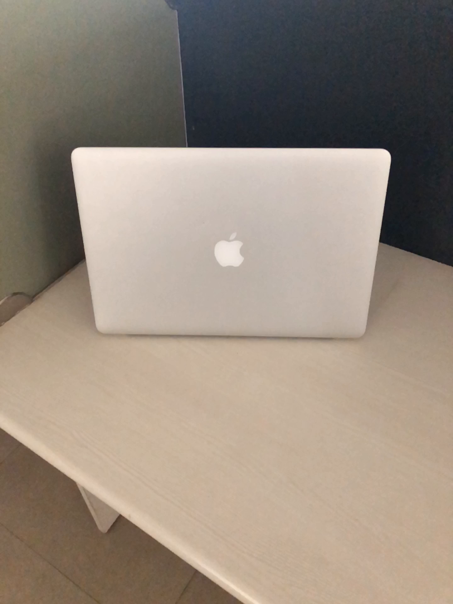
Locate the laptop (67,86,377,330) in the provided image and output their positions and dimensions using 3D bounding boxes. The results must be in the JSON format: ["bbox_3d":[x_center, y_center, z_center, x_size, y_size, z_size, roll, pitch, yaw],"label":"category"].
[{"bbox_3d":[0.000,-0.133,0.686,0.321,0.232,0.245,1,44,2],"label":"laptop"}]
